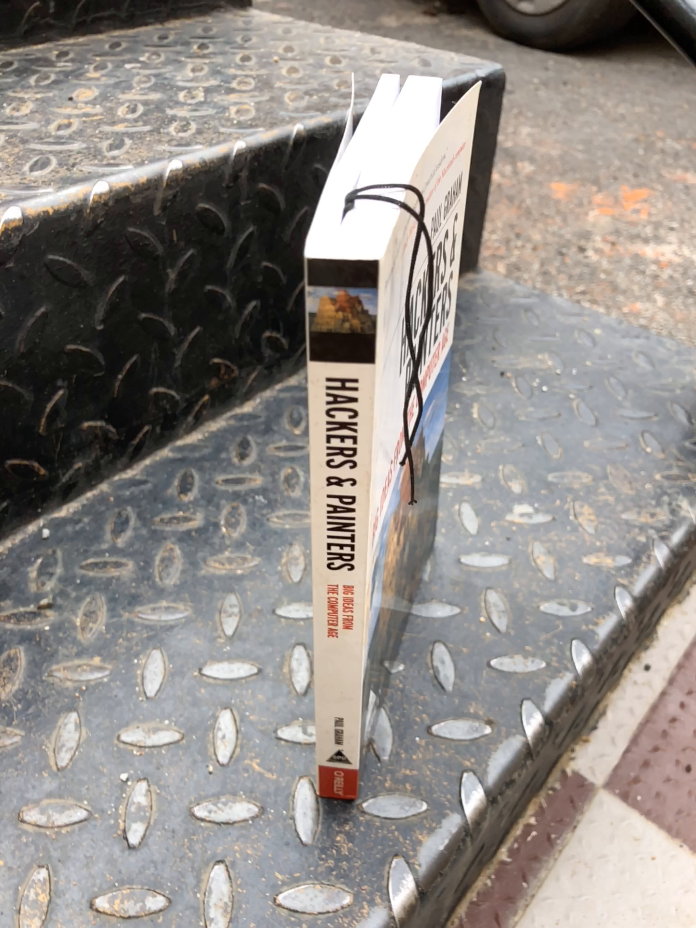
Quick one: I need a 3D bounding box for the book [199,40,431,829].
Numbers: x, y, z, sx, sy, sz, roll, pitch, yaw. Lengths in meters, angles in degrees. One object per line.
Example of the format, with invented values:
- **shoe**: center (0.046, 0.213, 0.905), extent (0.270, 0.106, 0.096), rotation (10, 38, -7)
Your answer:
- **book**: center (0.002, -0.007, 0.277), extent (0.030, 0.219, 0.171), rotation (5, 42, 7)
